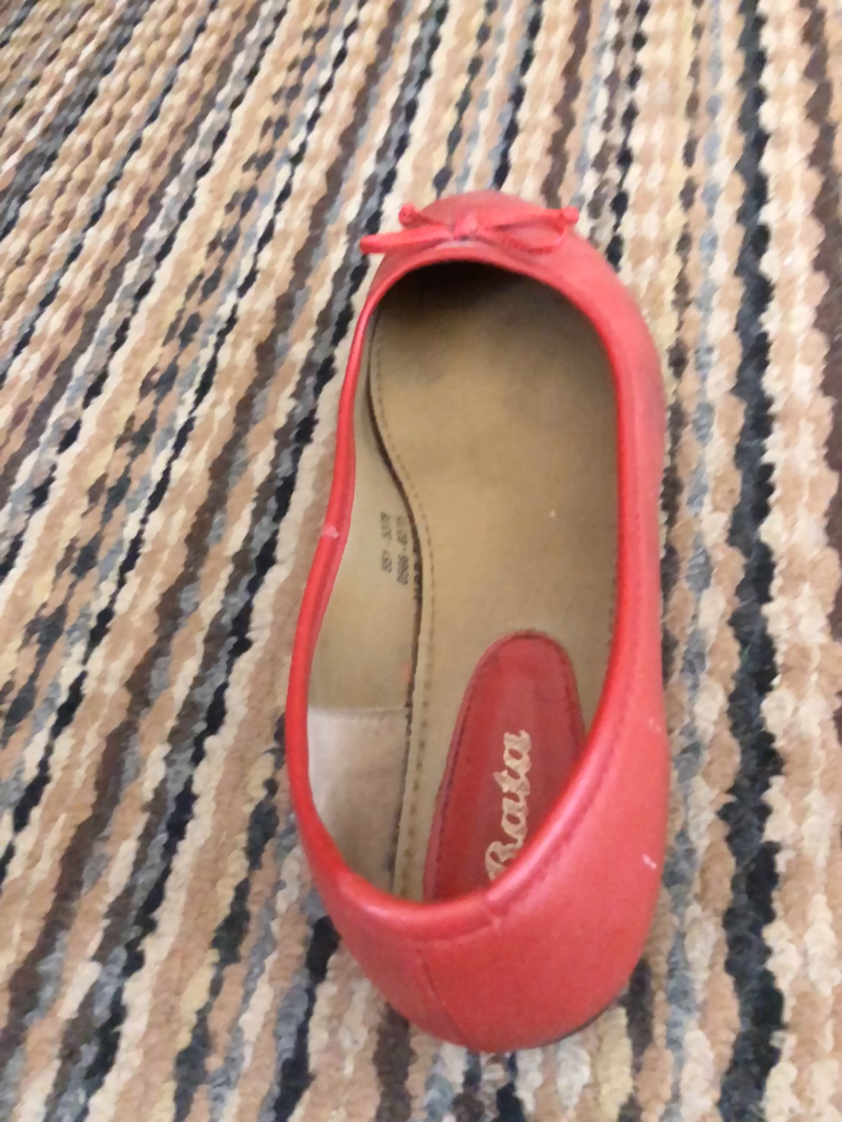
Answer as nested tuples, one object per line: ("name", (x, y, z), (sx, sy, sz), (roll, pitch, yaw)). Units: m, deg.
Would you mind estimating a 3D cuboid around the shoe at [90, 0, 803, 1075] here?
("shoe", (0.018, -0.025, 0.247), (0.100, 0.110, 0.270), (-6, 55, 13))
